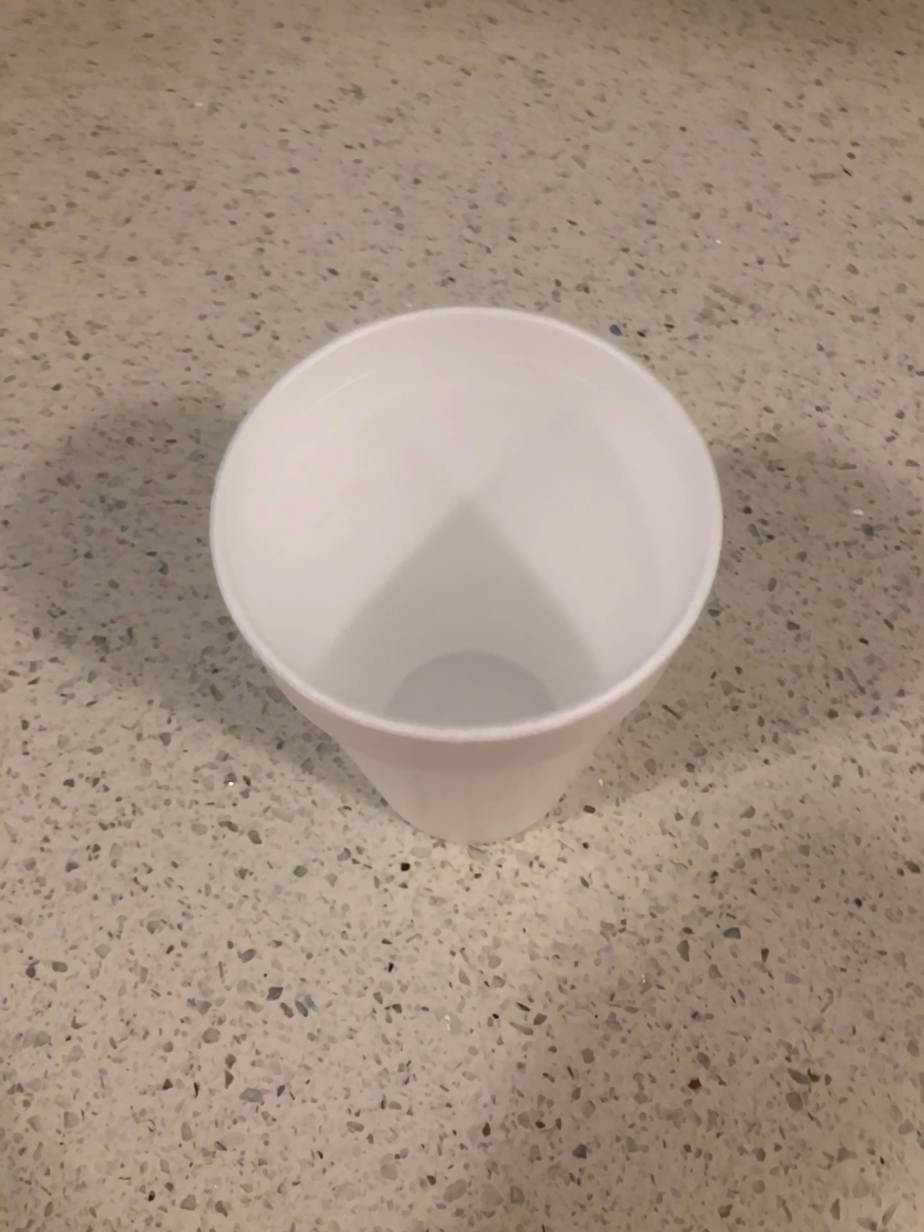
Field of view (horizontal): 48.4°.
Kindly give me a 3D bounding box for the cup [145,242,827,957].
[{"bbox_3d":[0.002,0.006,0.228,0.088,0.119,0.090,-1,64,2],"label":"cup"}]
